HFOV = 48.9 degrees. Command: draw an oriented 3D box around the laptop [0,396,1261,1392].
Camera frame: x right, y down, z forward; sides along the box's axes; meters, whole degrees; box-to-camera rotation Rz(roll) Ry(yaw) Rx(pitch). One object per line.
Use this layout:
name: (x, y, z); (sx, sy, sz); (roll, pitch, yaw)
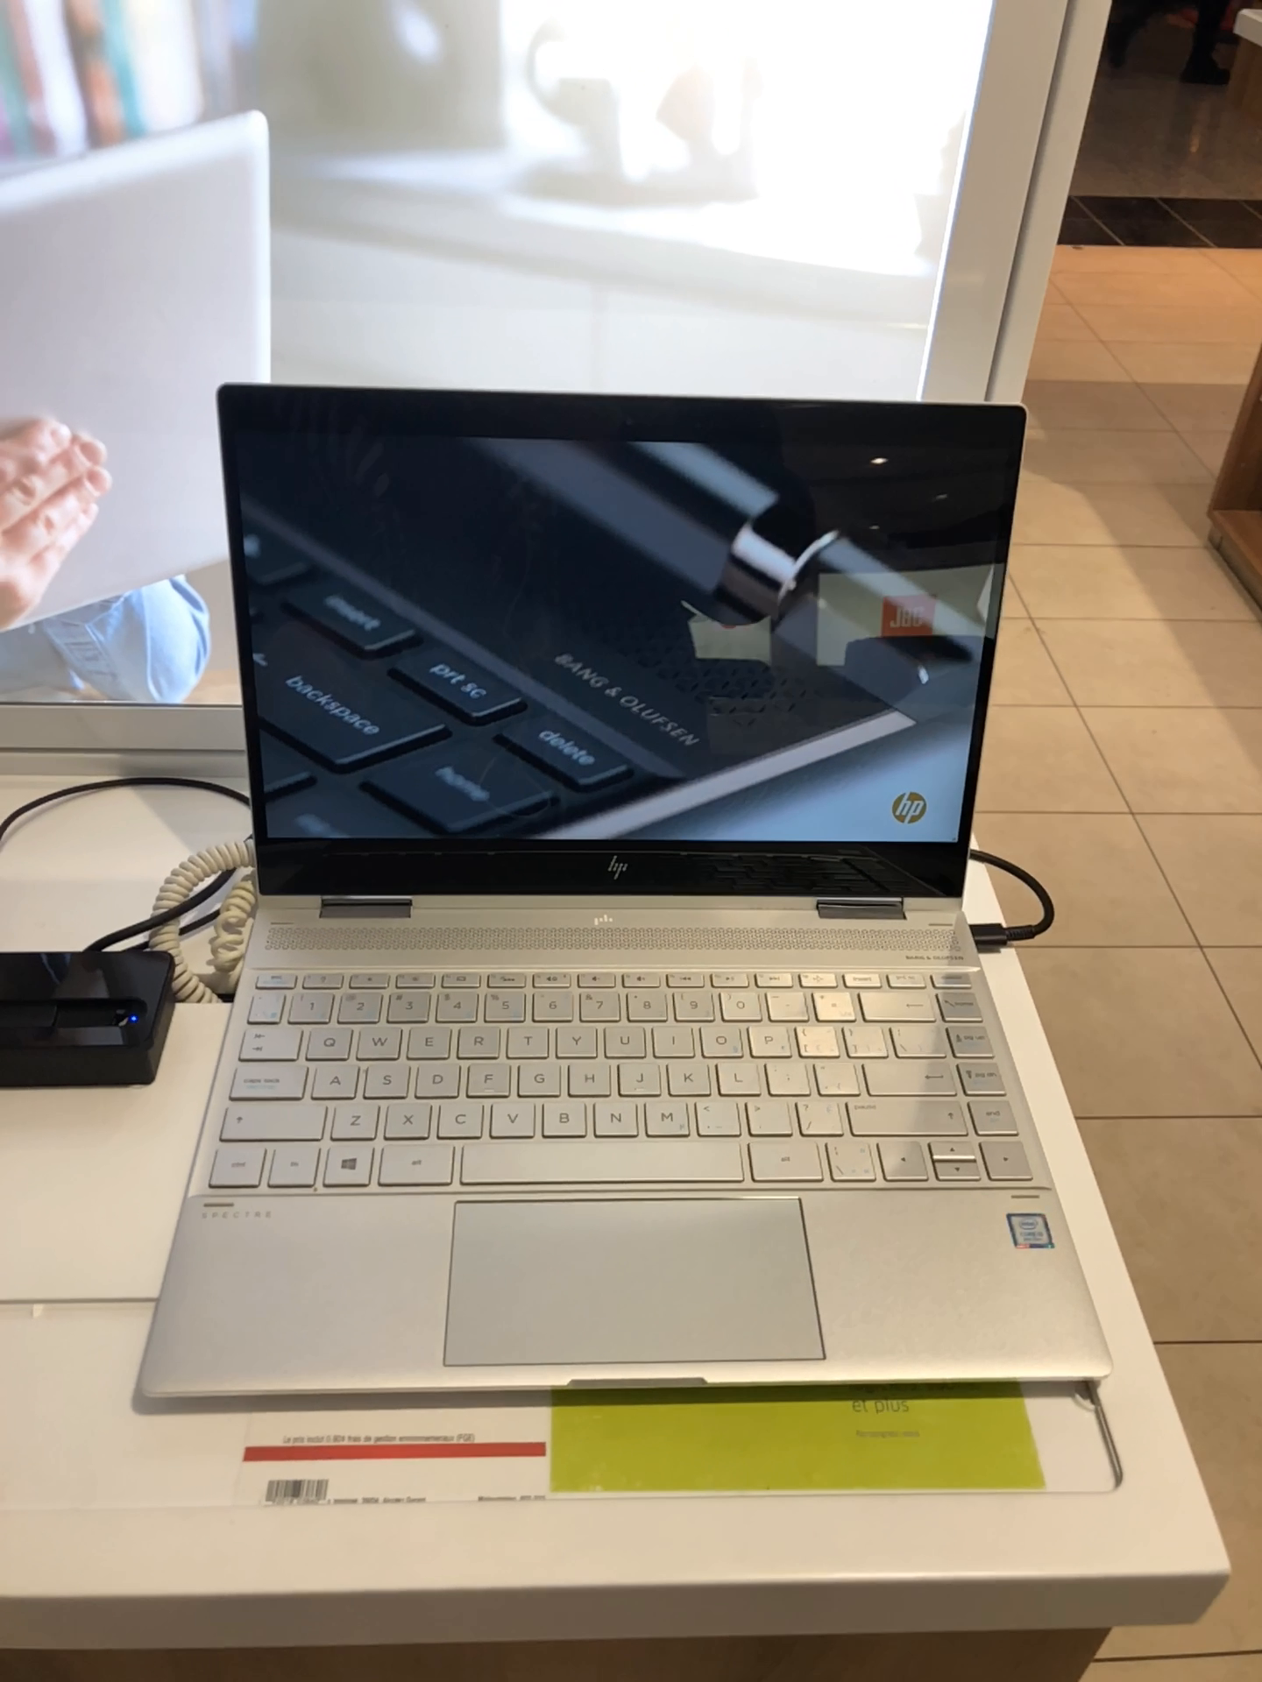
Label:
laptop: (0.000, 0.000, 0.474); (0.299, 0.193, 0.283); (0, 39, -3)
